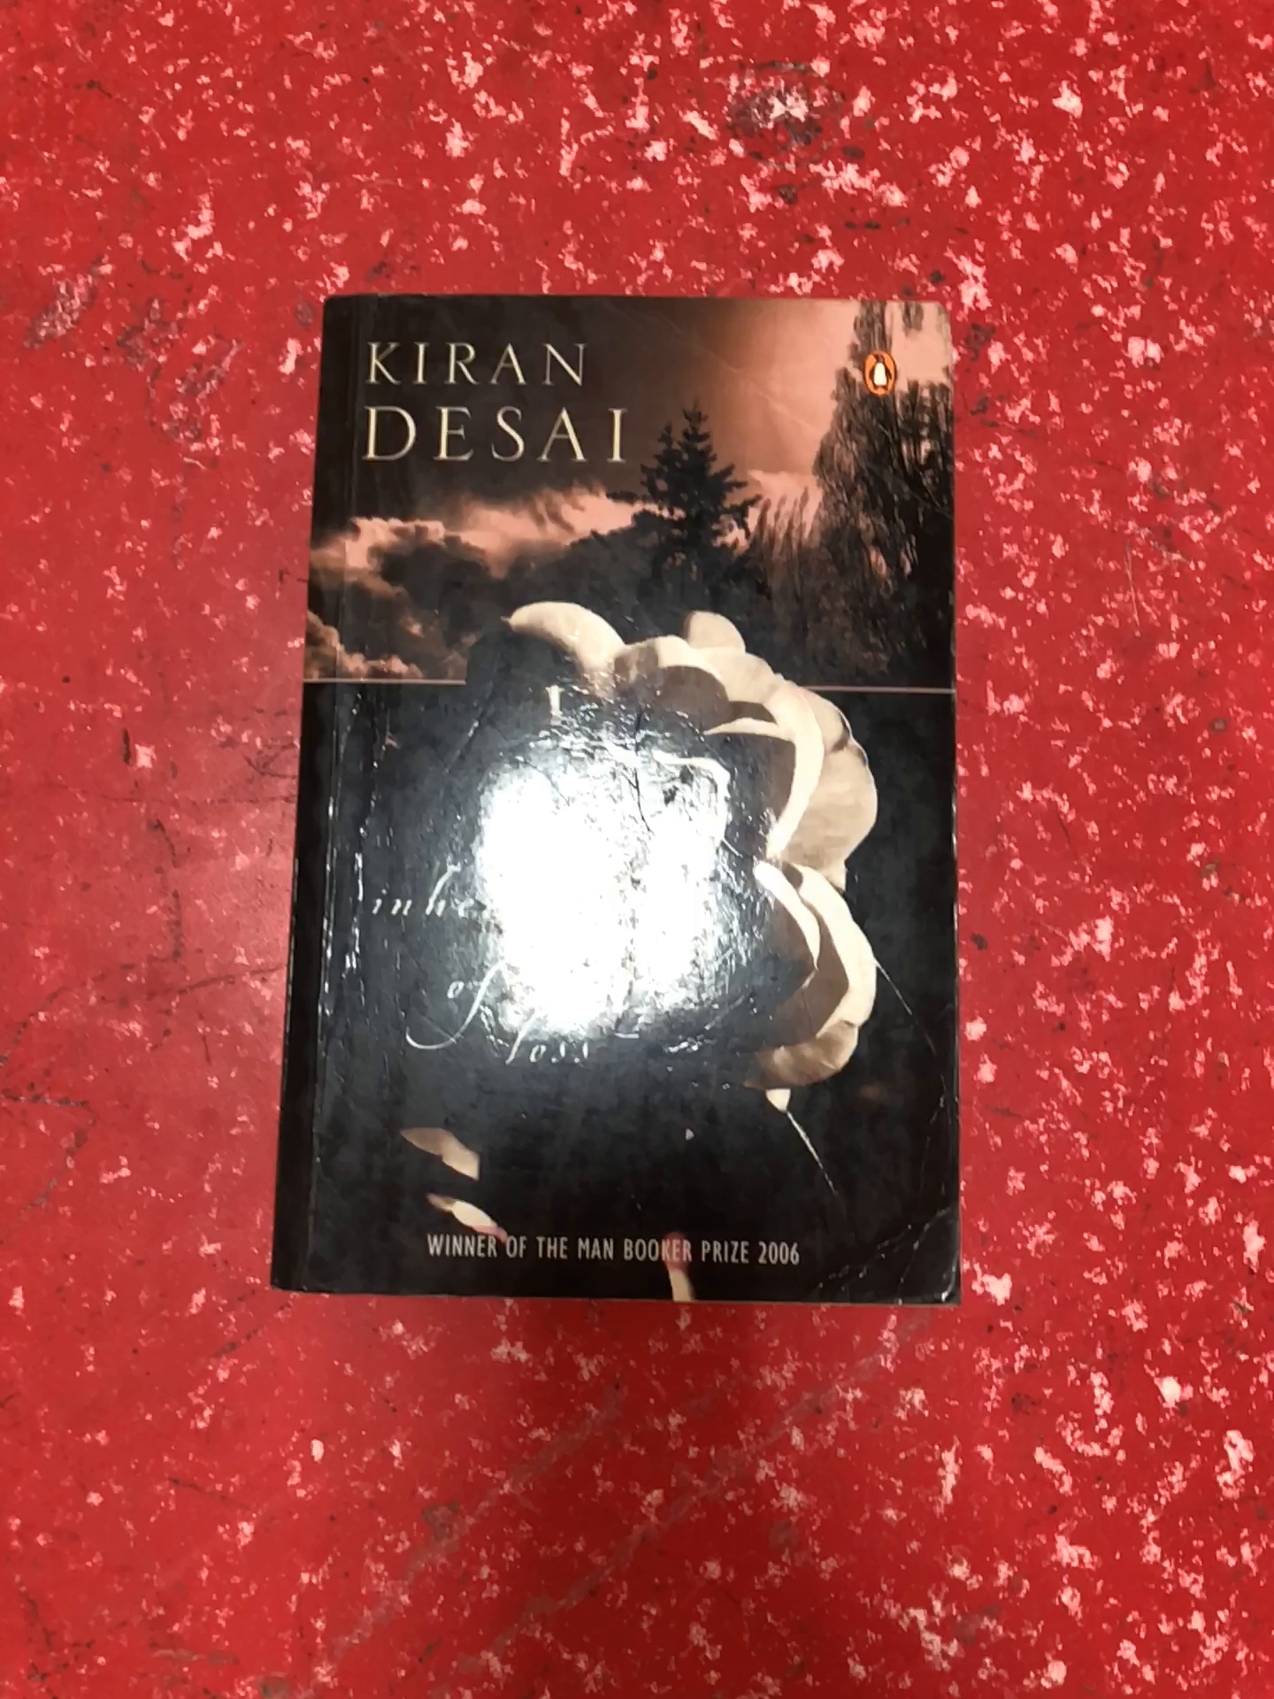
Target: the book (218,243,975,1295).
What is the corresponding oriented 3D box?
[{"bbox_3d":[-0.005,-0.016,0.286,0.130,0.060,0.190,1,82,1],"label":"book"}]
